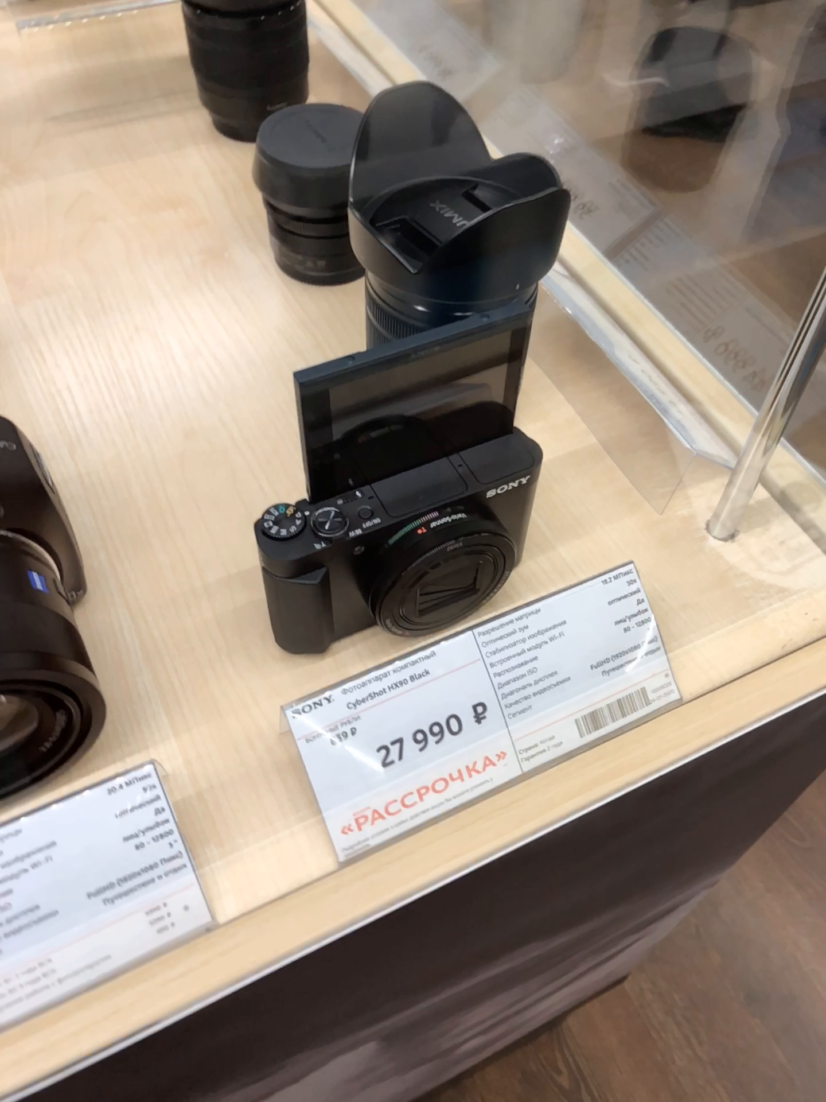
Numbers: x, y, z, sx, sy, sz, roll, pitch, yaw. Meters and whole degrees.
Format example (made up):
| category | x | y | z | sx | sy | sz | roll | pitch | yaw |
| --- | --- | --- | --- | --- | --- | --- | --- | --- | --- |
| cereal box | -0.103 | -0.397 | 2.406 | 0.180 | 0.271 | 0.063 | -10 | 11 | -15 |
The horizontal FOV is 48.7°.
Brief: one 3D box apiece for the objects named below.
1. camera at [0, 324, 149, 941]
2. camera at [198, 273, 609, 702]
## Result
| category | x | y | z | sx | sy | sz | roll | pitch | yaw |
| --- | --- | --- | --- | --- | --- | --- | --- | --- | --- |
| camera | -0.175 | 0.017 | 0.288 | 0.132 | 0.078 | 0.136 | -21 | 56 | -17 |
| camera | -0.004 | -0.017 | 0.291 | 0.100 | 0.107 | 0.050 | -21 | 56 | -17 |
